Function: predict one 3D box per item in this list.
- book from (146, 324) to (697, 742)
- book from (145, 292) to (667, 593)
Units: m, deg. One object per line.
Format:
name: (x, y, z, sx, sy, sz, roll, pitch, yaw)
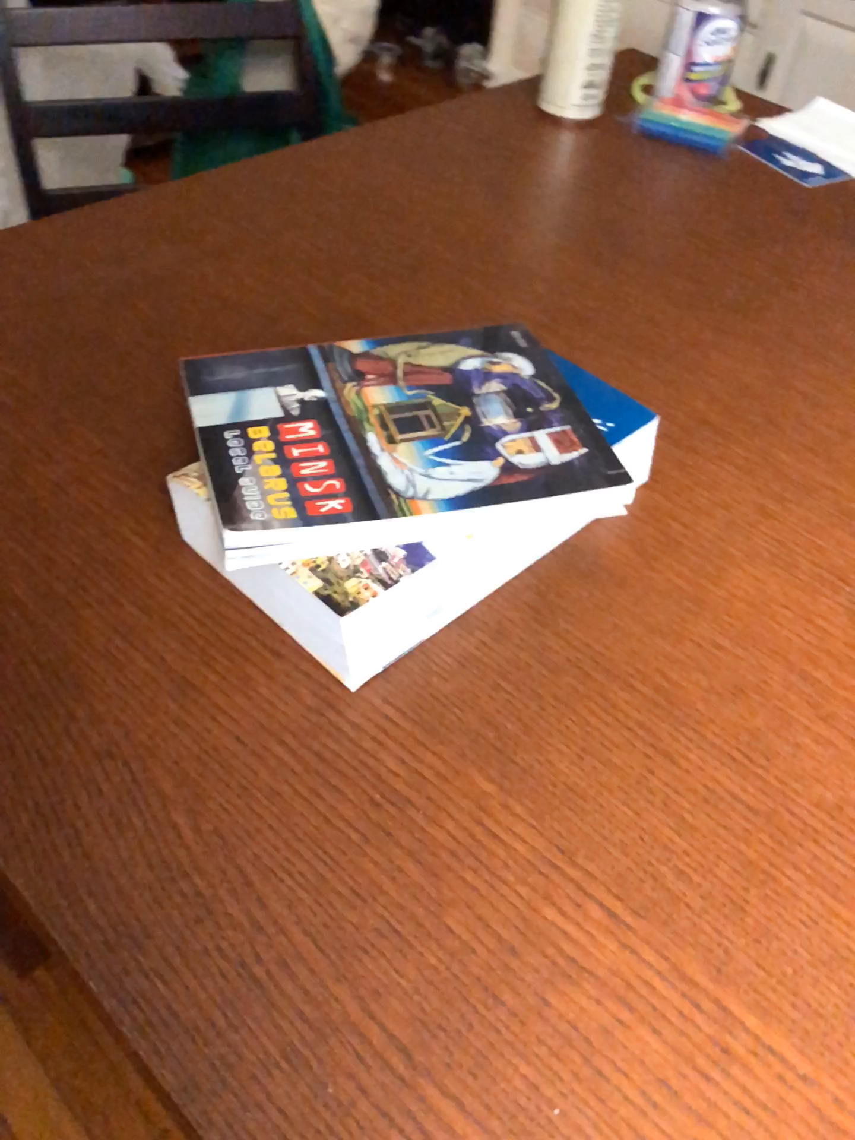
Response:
book: (0.004, -0.034, 0.439, 0.221, 0.040, 0.130, -32, 57, -32)
book: (-0.016, -0.067, 0.415, 0.190, 0.020, 0.151, -10, 48, -16)
